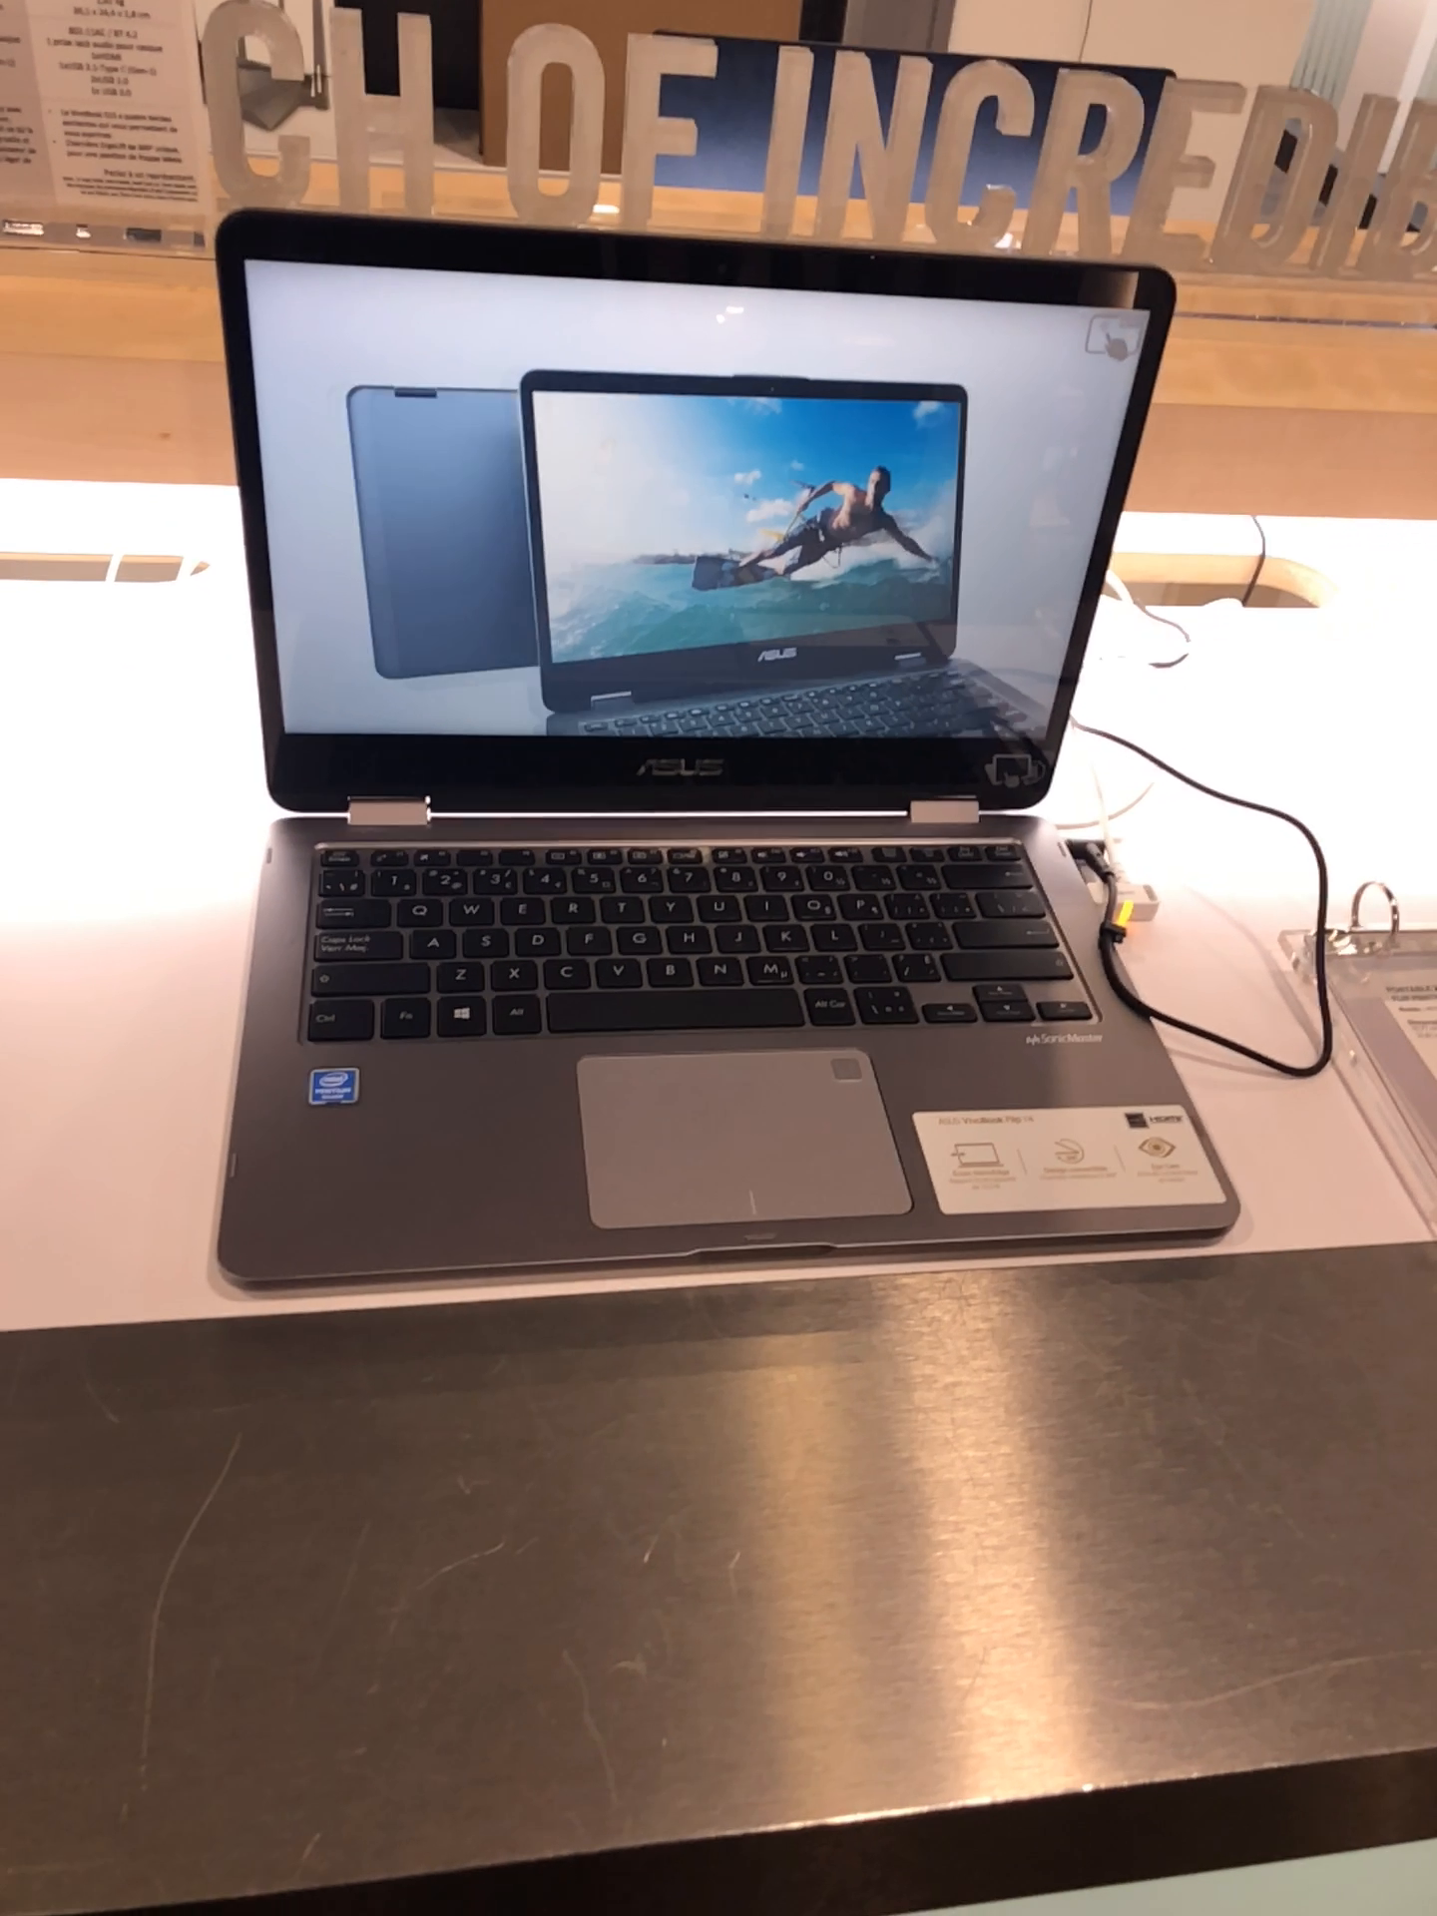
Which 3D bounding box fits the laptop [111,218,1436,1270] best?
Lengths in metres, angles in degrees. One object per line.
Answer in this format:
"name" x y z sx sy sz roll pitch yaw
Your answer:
"laptop" 0.009 -0.065 0.470 0.303 0.210 0.211 -1 42 -10
